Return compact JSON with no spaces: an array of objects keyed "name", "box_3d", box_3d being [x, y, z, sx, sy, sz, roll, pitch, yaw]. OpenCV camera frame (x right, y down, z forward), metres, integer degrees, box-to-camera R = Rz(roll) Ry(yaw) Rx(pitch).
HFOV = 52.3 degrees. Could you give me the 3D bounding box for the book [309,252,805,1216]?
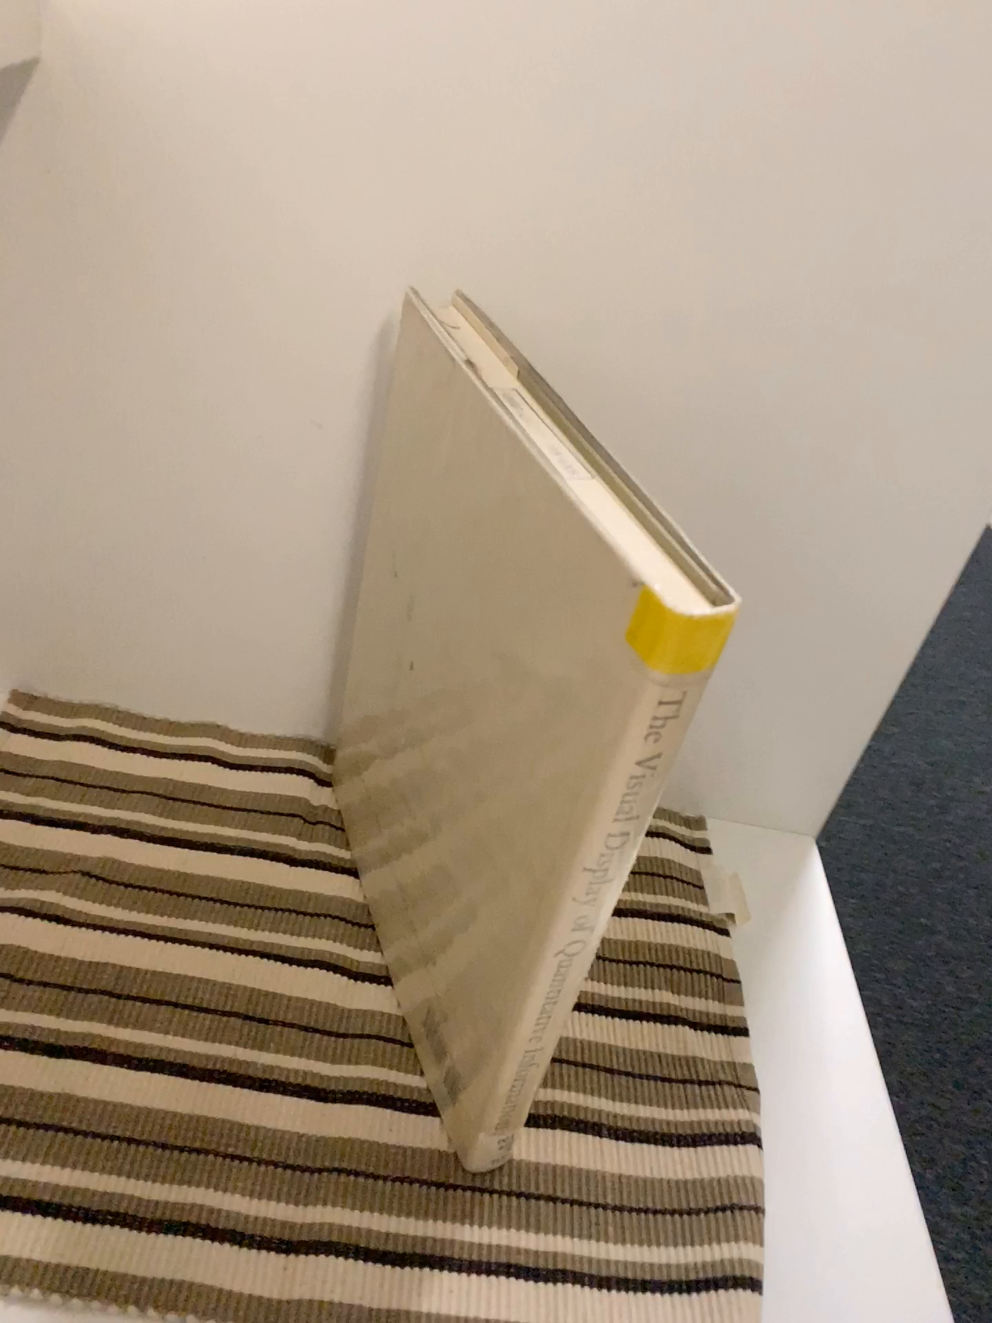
[{"name":"book","box_3d":[-0.016,0.024,0.409,0.040,0.287,0.252,-4,39,-23]}]
